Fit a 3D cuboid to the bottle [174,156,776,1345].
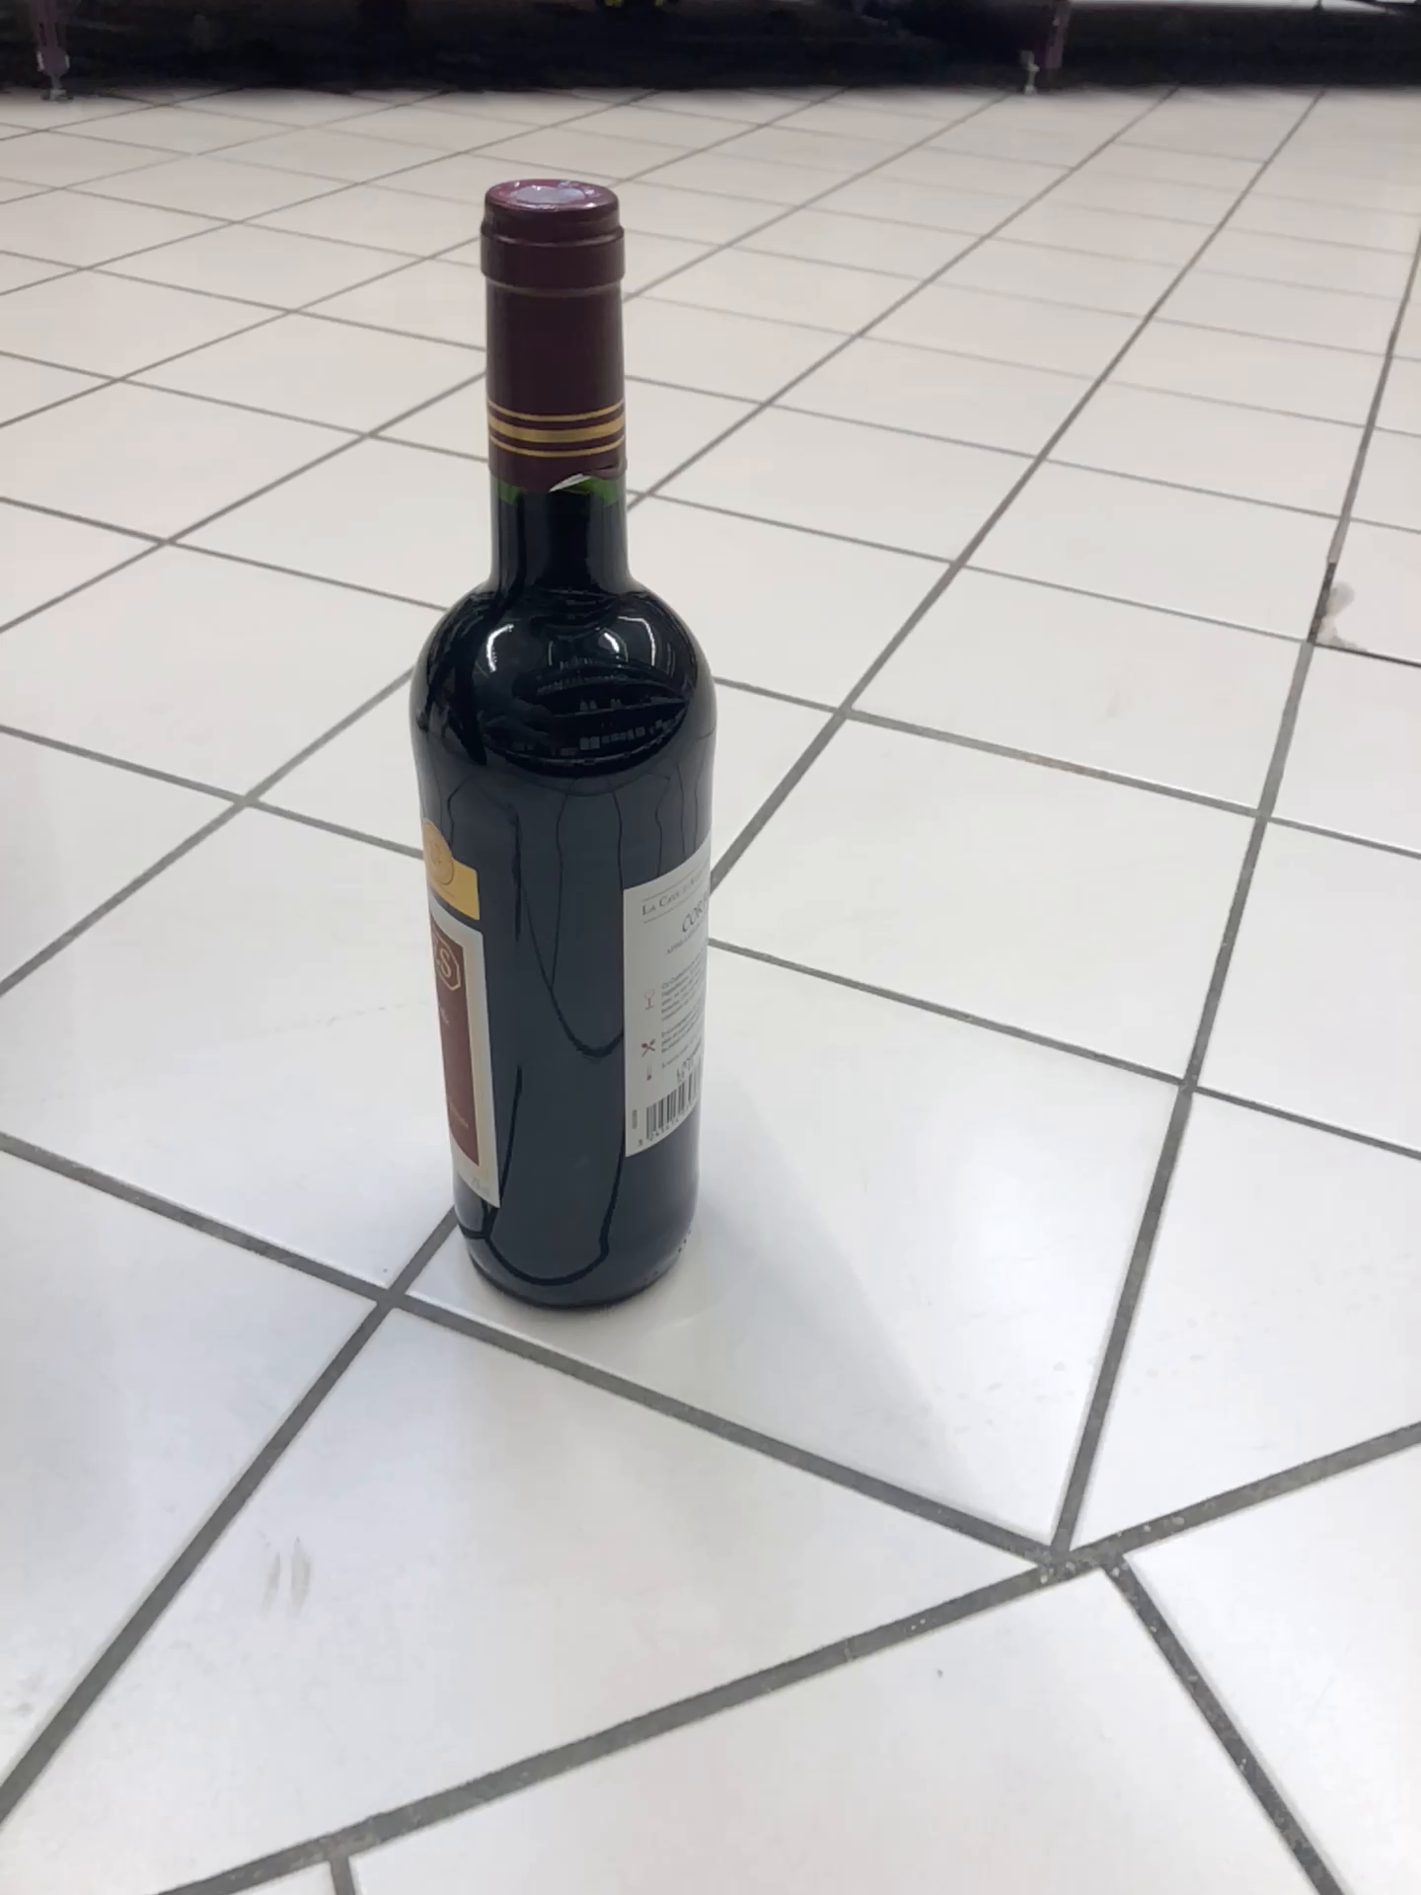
[{"bbox_3d":[-0.046,-0.033,0.384,0.100,0.268,0.101,3,37,-2],"label":"bottle"}]
